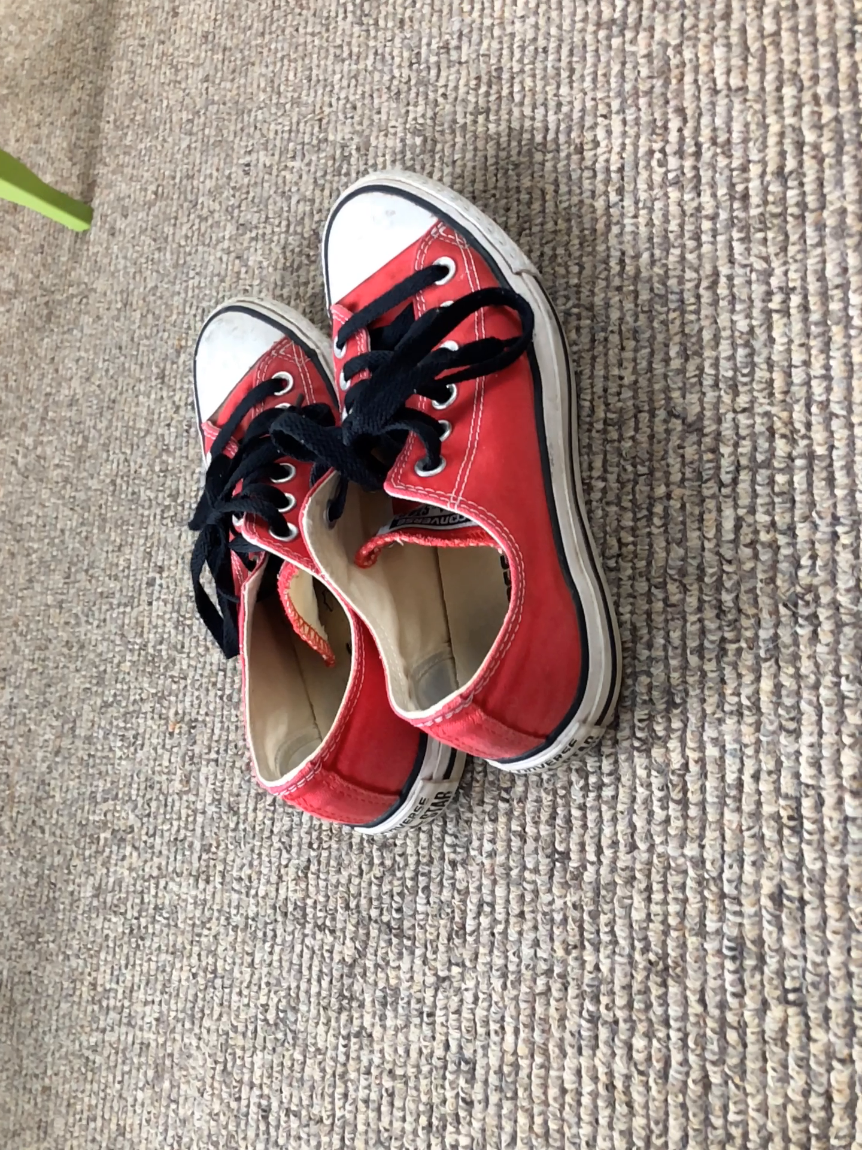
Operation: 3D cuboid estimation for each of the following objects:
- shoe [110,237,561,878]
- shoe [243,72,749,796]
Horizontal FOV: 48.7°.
[{"bbox_3d":[-0.055,-0.011,0.437,0.102,0.097,0.263,-36,58,27],"label":"shoe"},{"bbox_3d":[0.013,-0.055,0.380,0.102,0.088,0.259,-31,61,29],"label":"shoe"}]
